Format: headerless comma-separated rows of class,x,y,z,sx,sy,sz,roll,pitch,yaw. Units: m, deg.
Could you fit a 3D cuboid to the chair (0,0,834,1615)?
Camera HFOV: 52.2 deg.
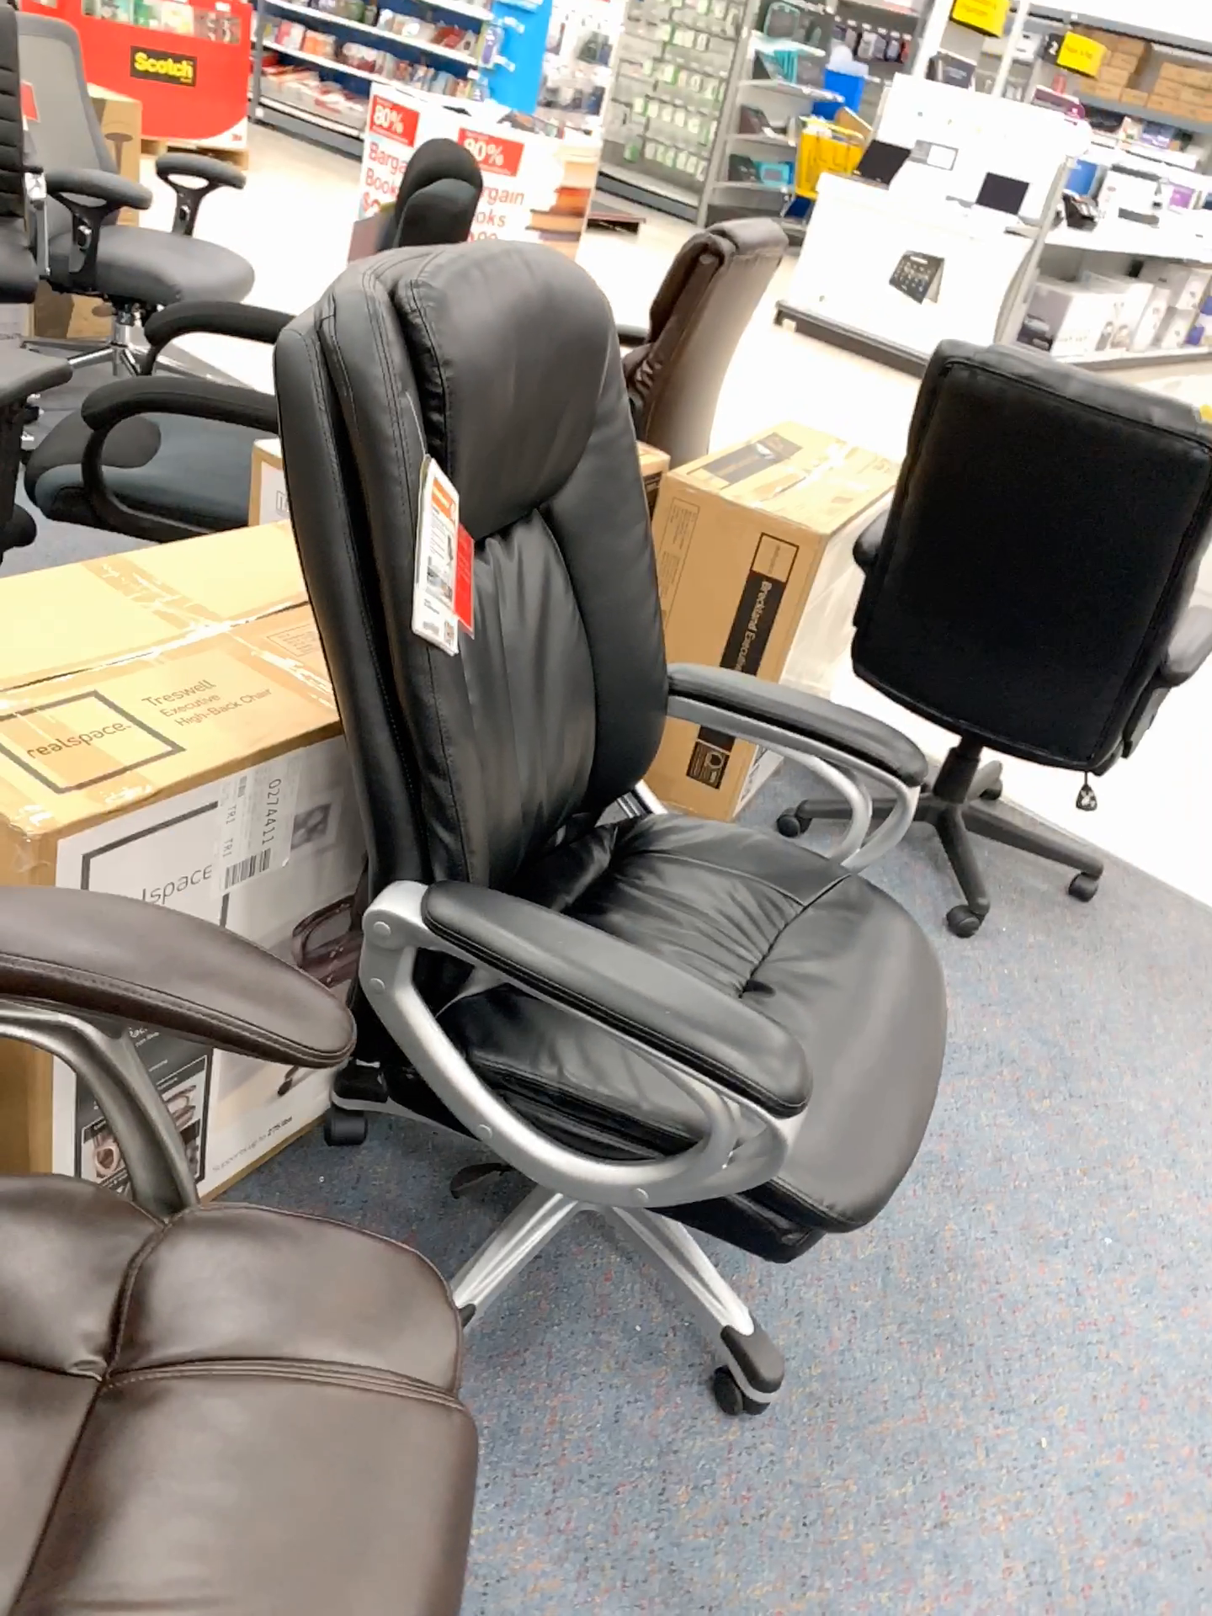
chair,-0.444,0.337,0.582,0.787,1.046,0.758,16,31,2

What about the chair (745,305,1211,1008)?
chair,0.823,-0.339,2.330,0.664,0.926,0.841,23,32,14

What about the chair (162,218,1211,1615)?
chair,0.068,0.067,1.255,0.657,1.056,0.678,22,31,12
